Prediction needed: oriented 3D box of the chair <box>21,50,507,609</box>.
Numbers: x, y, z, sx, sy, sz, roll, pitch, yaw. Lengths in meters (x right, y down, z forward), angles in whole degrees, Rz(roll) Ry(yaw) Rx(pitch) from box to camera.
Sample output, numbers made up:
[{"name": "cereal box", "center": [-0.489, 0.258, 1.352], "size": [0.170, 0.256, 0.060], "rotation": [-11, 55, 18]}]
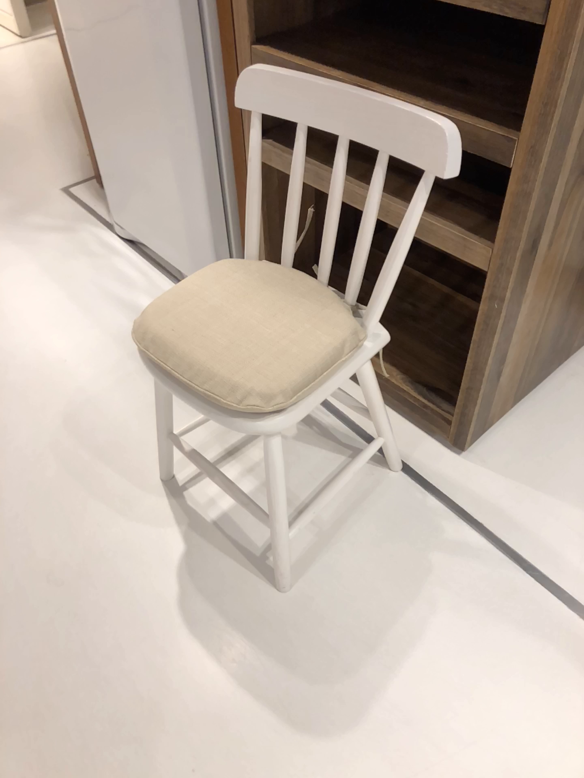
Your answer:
[{"name": "chair", "center": [-0.028, -0.092, 1.129], "size": [0.452, 0.725, 0.482], "rotation": [35, 56, 30]}]
